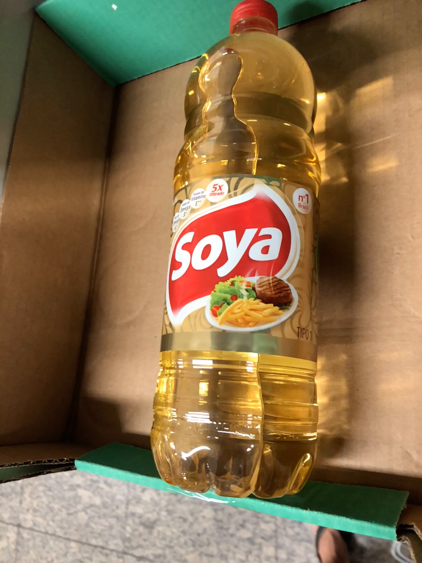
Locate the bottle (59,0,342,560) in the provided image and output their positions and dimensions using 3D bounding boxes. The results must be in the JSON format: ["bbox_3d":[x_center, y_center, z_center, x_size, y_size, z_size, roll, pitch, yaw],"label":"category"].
[{"bbox_3d":[0.004,-0.018,0.200,0.080,0.070,0.210,-2,78,30],"label":"bottle"}]
